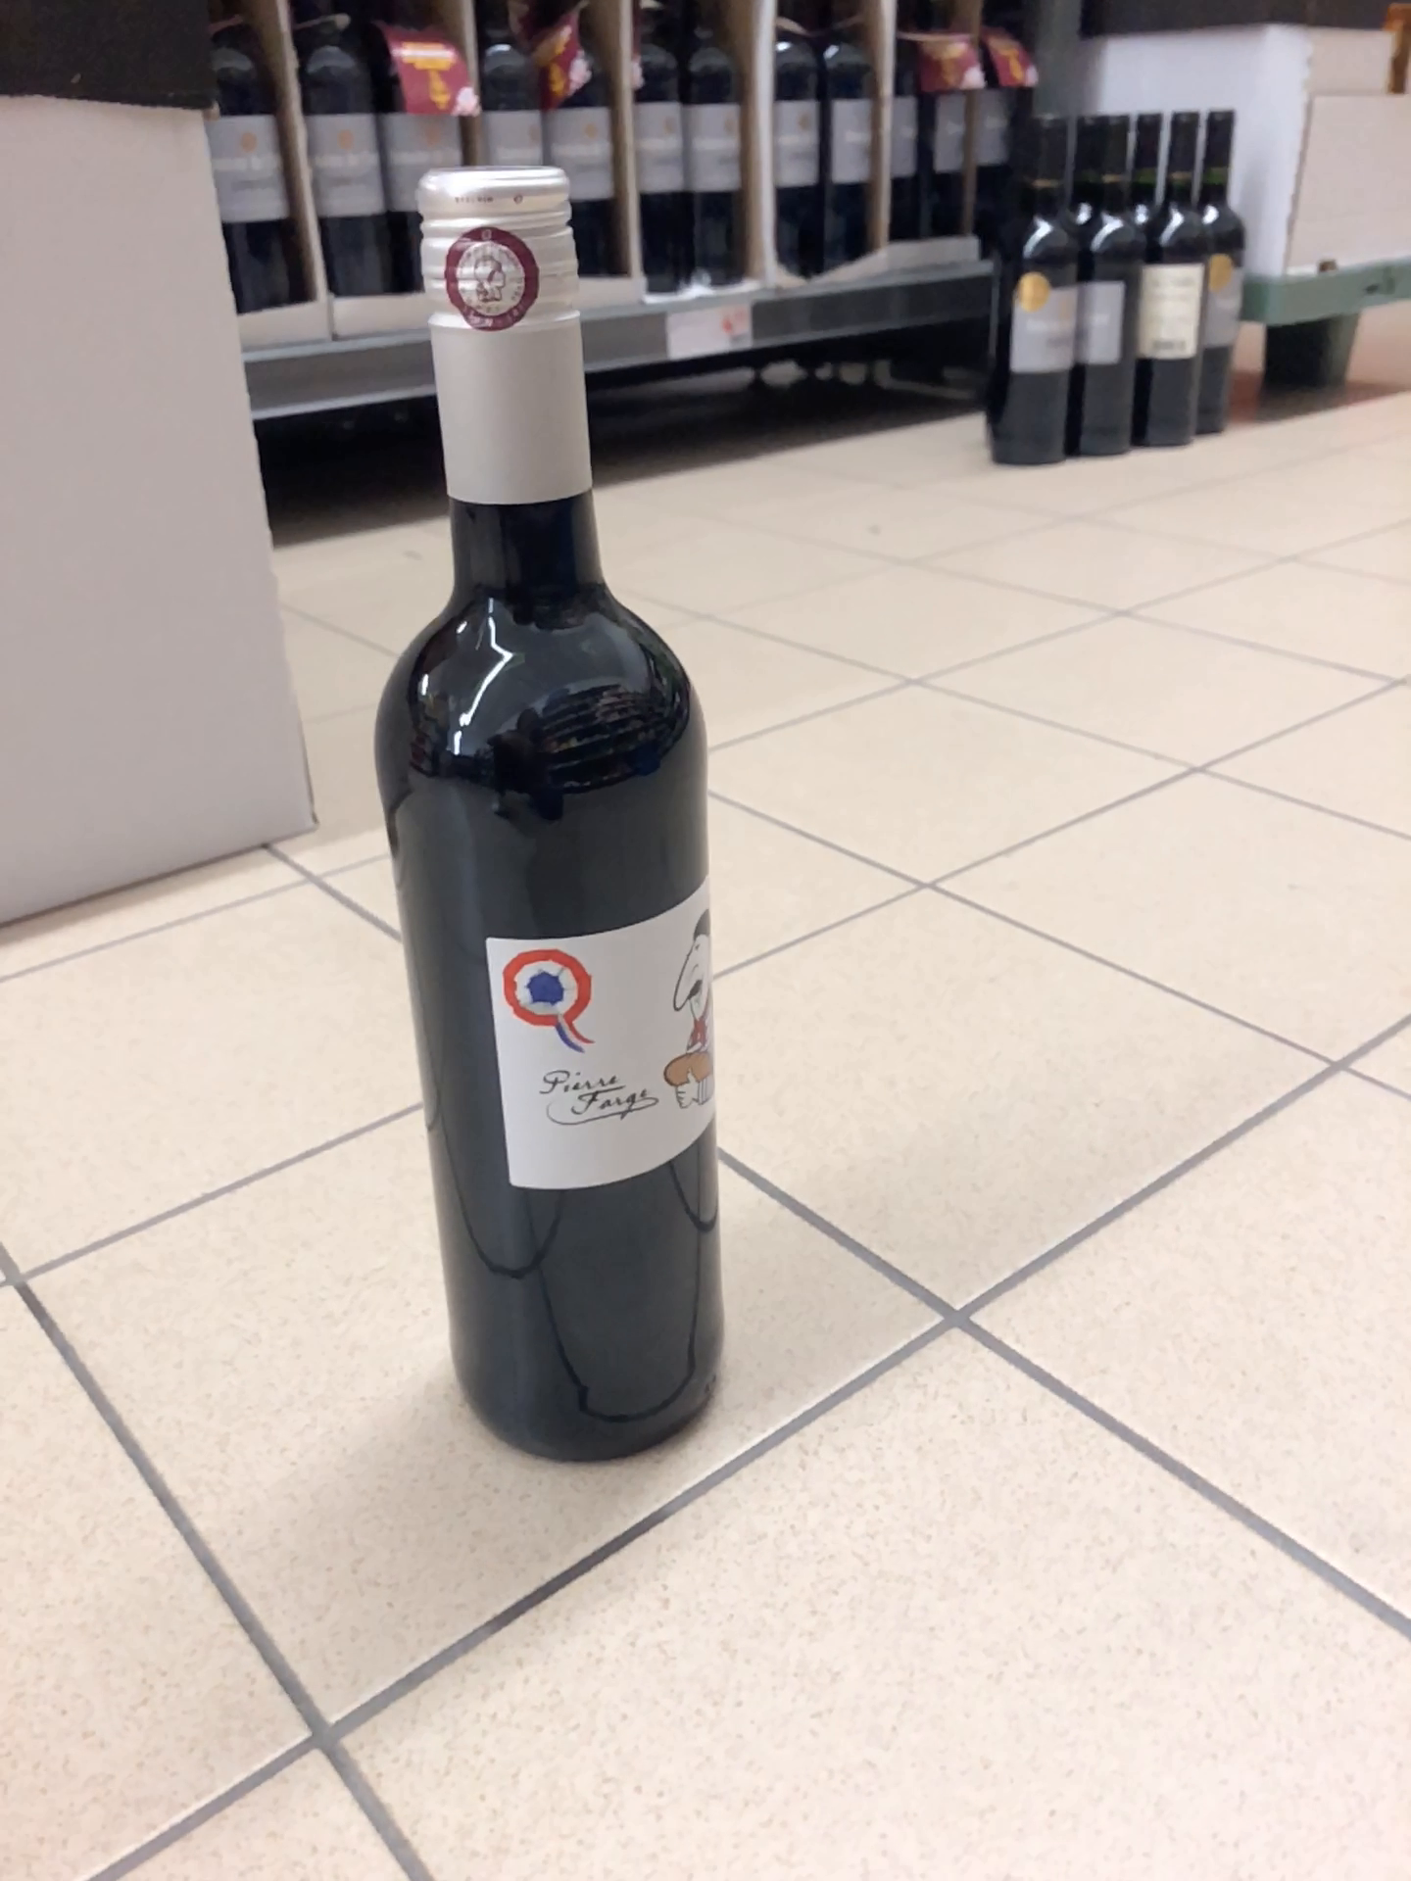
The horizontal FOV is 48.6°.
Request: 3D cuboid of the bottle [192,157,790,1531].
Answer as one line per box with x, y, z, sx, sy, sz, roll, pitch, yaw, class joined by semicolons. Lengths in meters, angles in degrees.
-0.037;-0.015;0.365;0.080;0.298;0.080;-1;27;1;bottle
